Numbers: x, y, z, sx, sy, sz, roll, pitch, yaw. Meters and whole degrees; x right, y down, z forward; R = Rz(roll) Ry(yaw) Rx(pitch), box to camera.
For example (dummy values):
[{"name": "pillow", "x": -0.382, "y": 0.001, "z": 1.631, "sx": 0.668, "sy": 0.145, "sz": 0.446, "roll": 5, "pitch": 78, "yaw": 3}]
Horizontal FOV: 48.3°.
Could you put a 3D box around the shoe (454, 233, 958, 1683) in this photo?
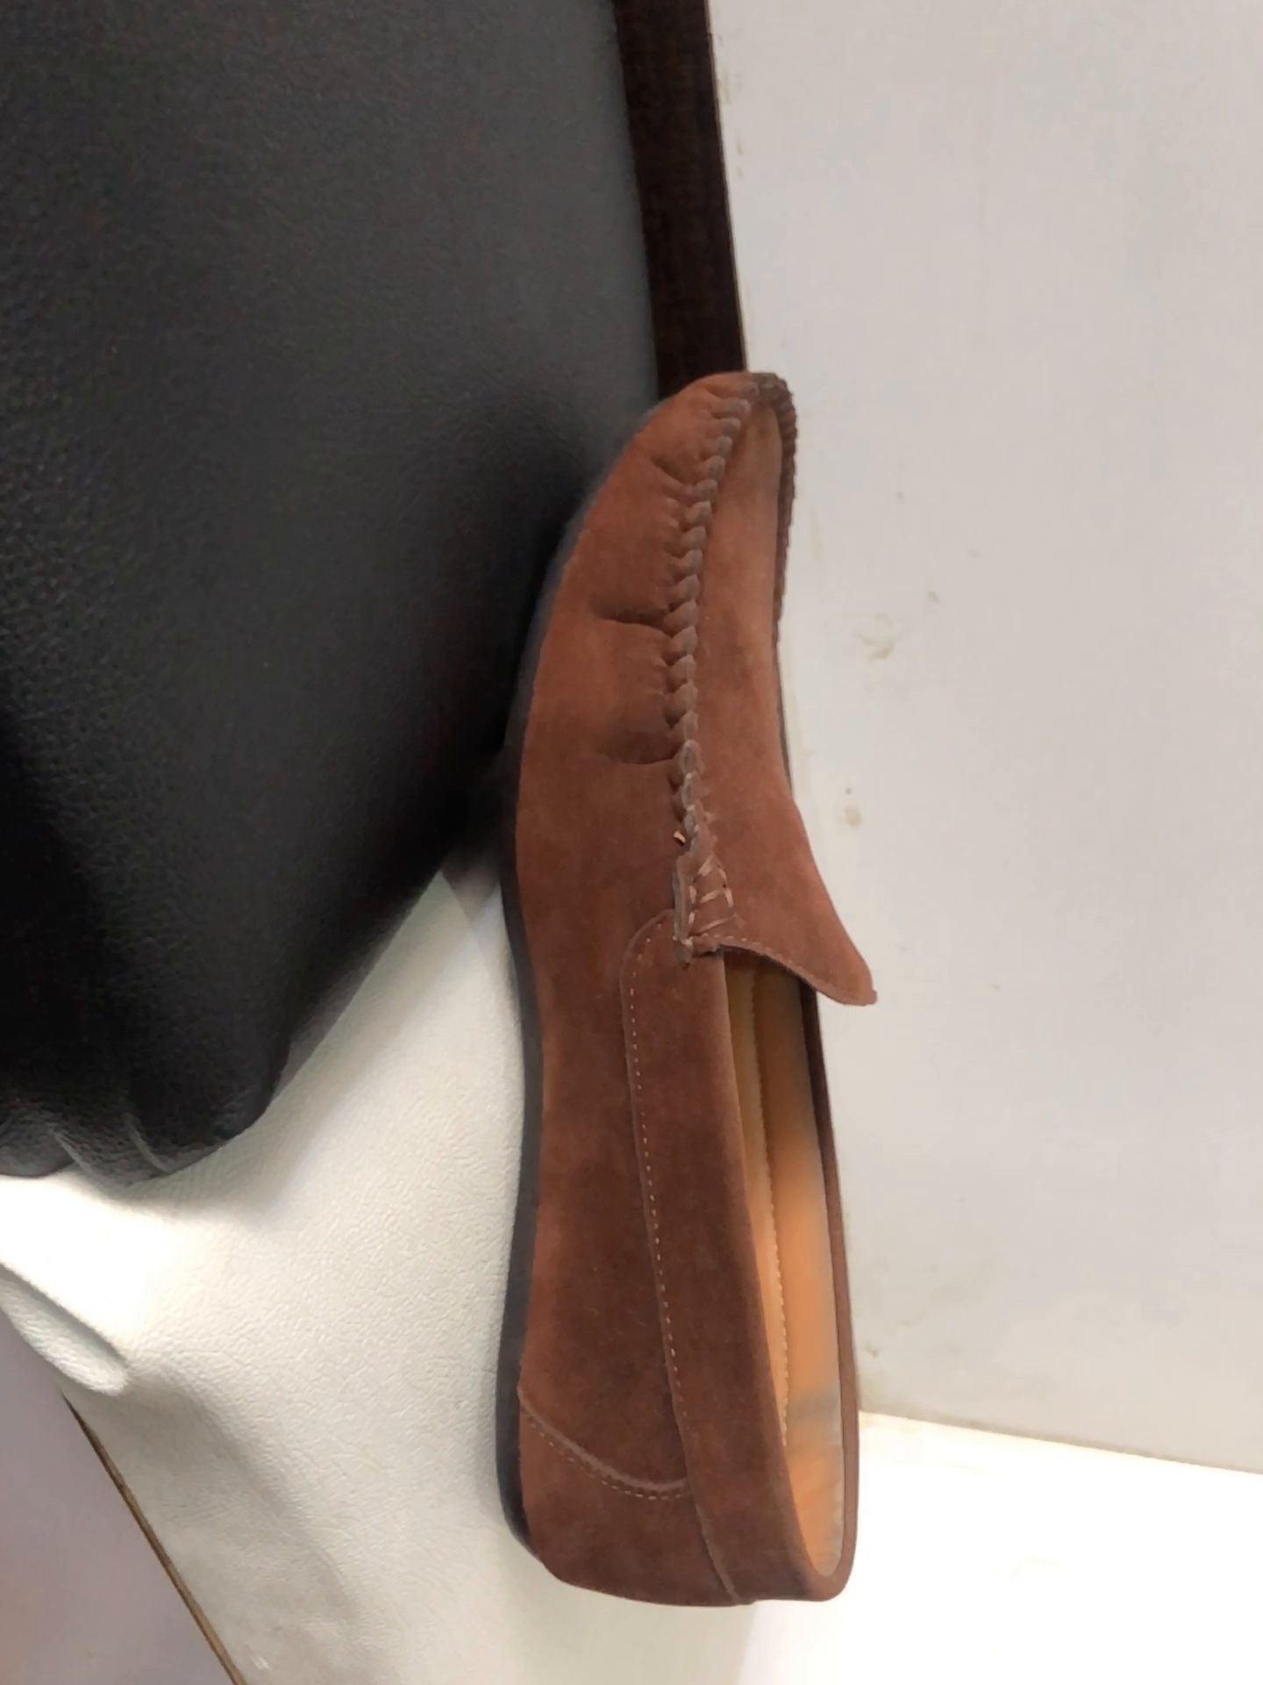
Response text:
[{"name": "shoe", "x": 0.030, "y": 0.023, "z": 0.361, "sx": 0.141, "sy": 0.080, "sz": 0.290, "roll": 10, "pitch": 82, "yaw": -71}]
